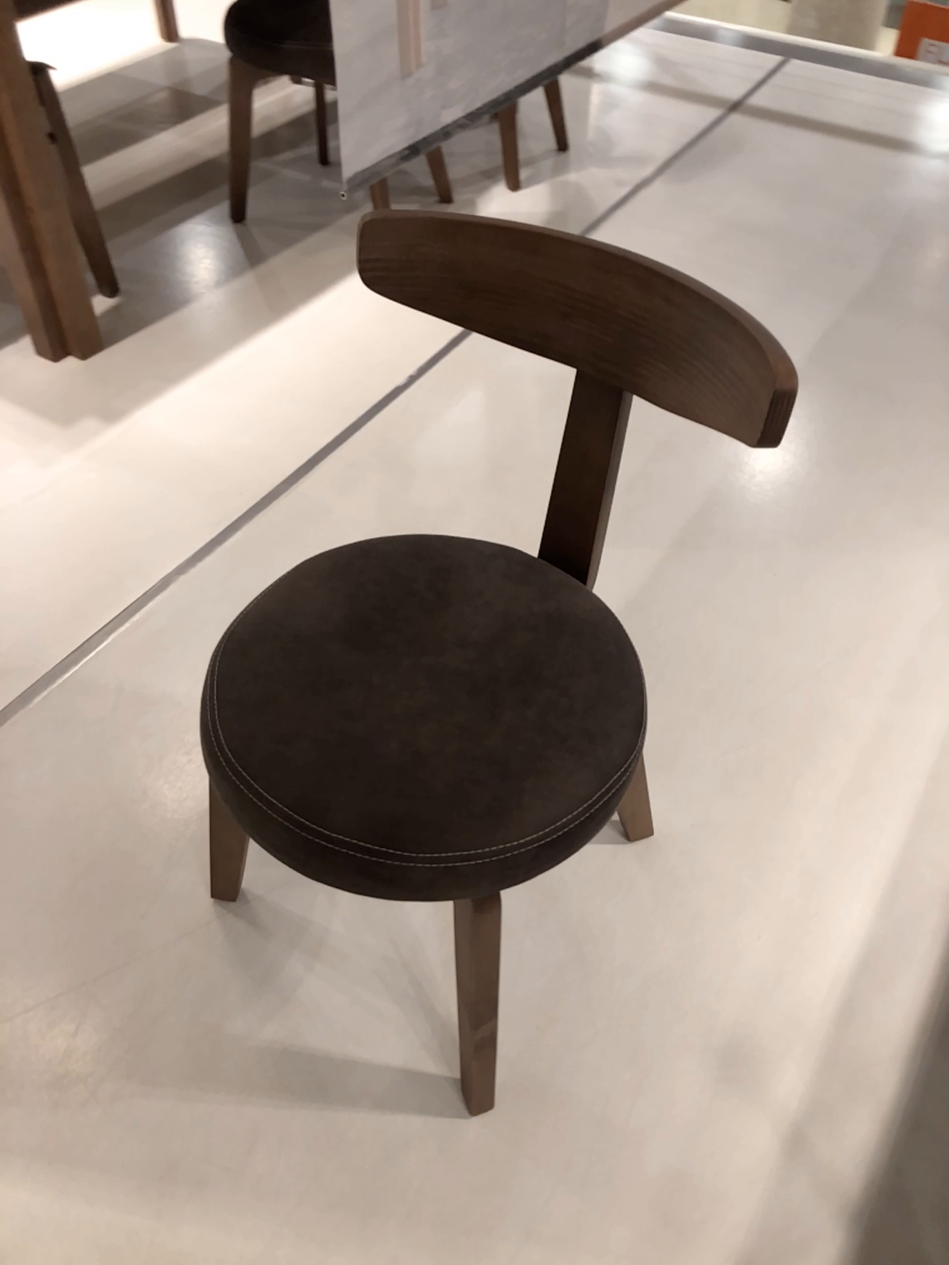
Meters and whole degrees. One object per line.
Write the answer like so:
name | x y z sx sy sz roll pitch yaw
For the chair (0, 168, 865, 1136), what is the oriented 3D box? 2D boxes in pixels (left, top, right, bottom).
chair | -0.025 0.025 1.053 0.471 0.705 0.492 29 51 25
